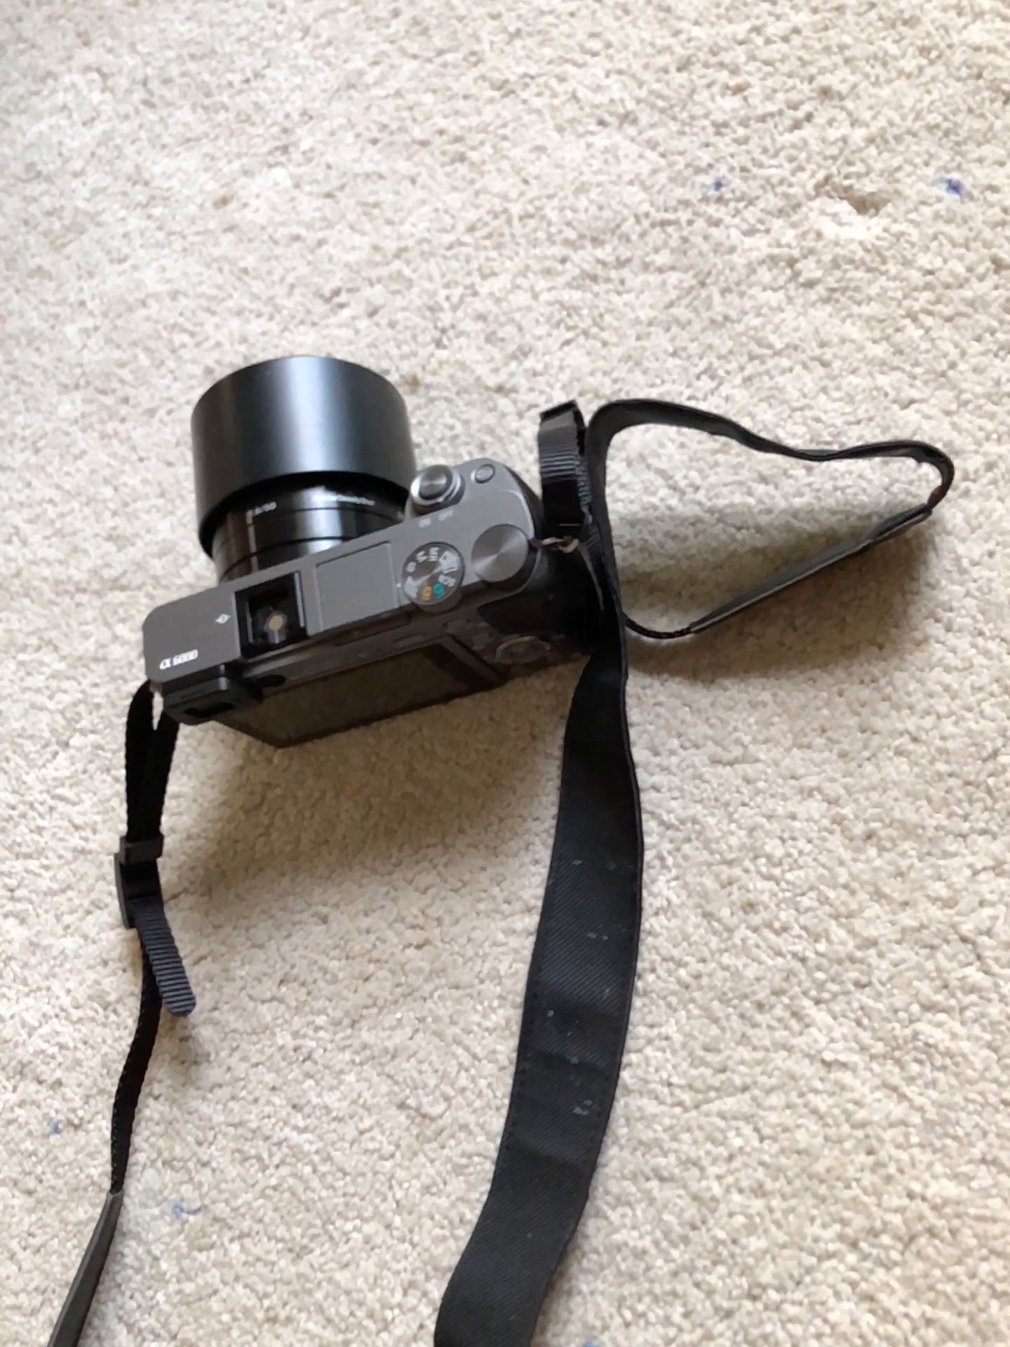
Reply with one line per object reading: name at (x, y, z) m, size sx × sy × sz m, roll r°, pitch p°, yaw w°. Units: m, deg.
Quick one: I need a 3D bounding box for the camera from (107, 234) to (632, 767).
camera at (-0.040, -0.043, 0.323) m, size 0.120 × 0.070 × 0.100 m, roll -16°, pitch 68°, yaw 16°
